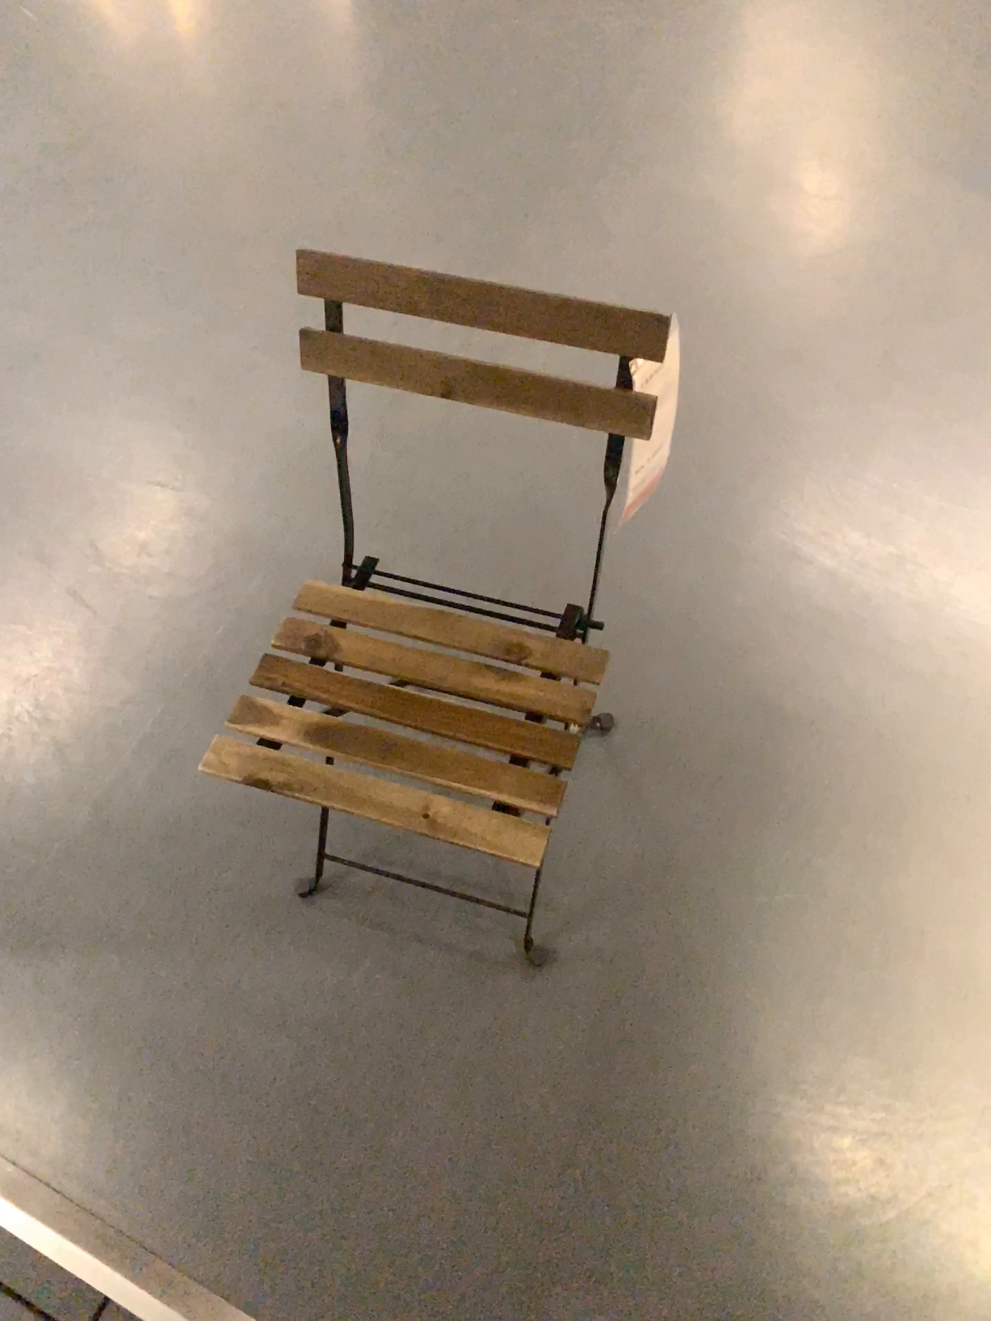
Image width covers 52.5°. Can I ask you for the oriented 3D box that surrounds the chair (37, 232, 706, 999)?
[{"bbox_3d":[-0.062,-0.001,1.164,0.420,0.698,0.501,15,61,13],"label":"chair"}]
